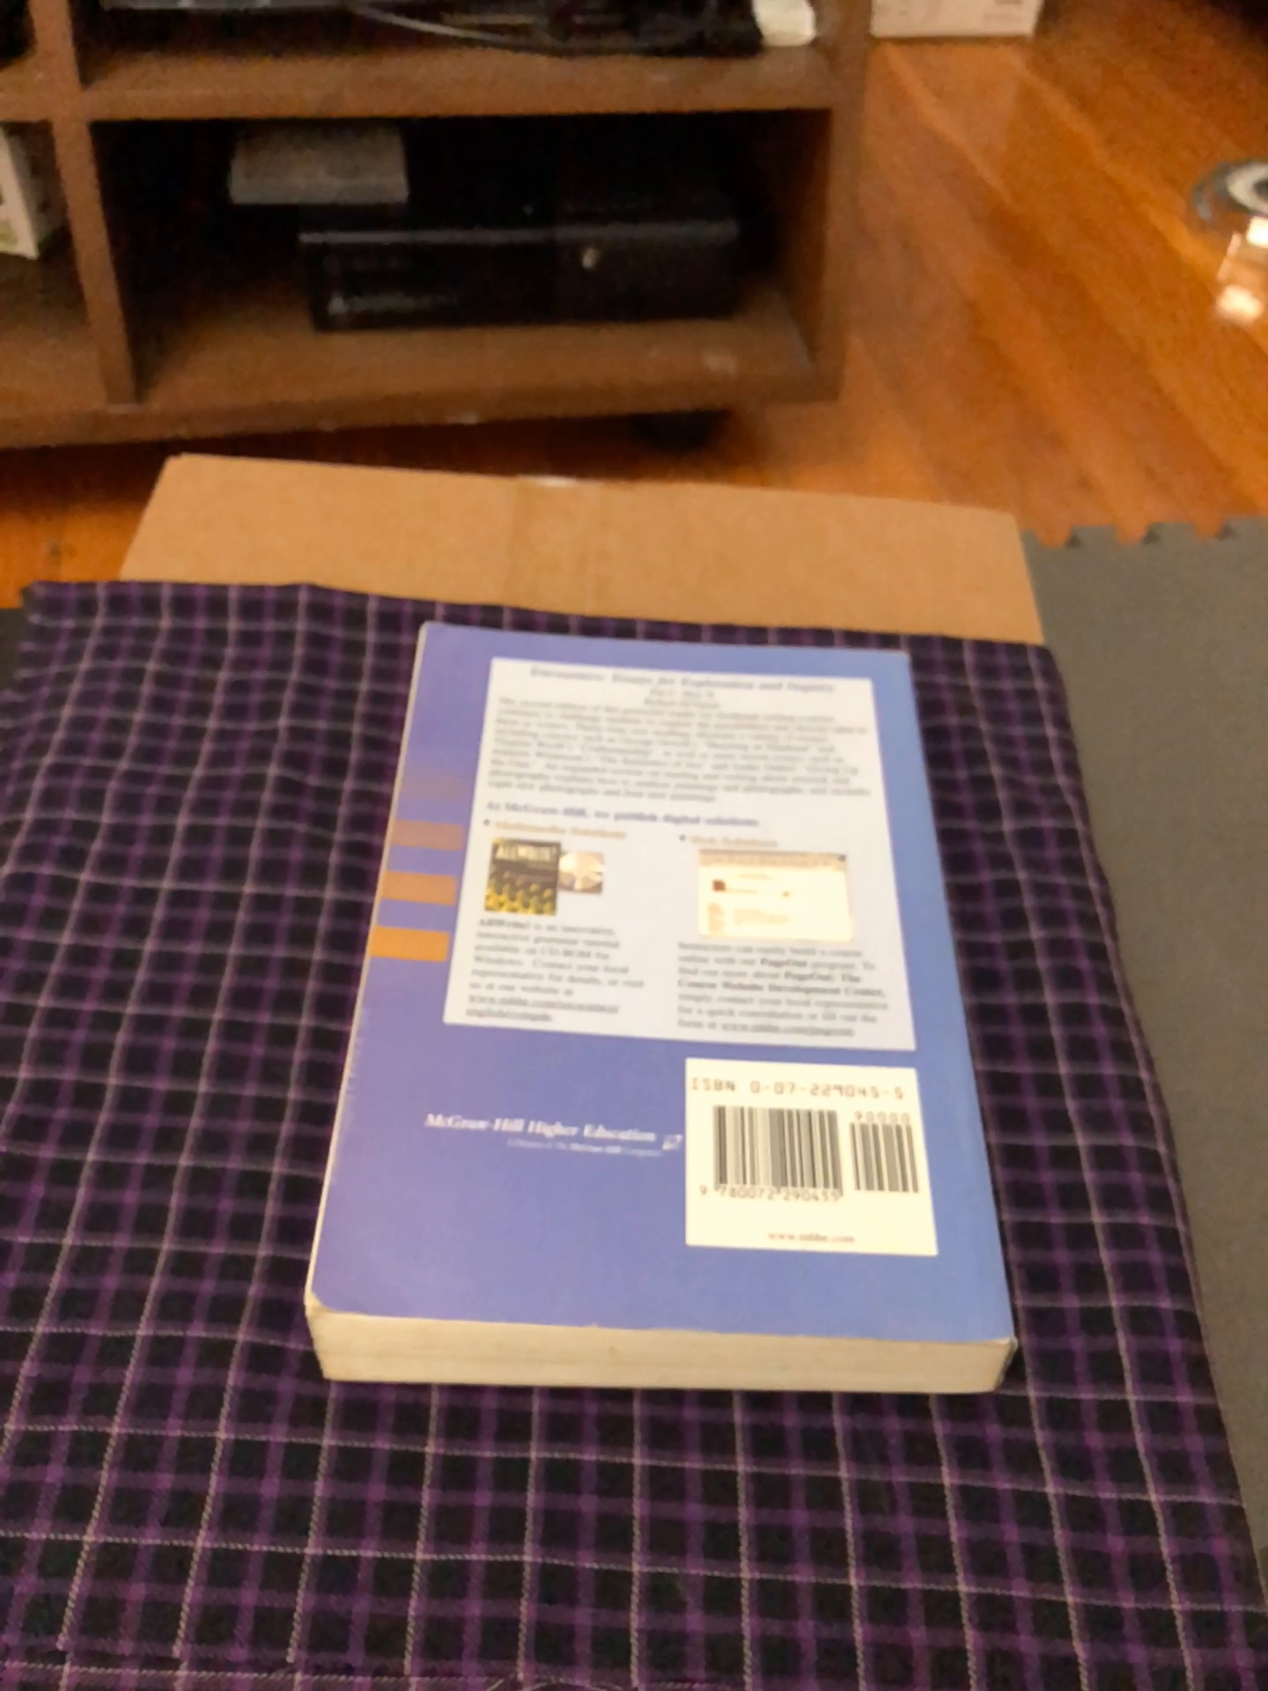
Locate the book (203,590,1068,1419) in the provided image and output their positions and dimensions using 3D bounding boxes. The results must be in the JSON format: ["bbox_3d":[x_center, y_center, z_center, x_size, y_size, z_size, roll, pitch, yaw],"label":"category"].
[{"bbox_3d":[0.000,0.026,0.388,0.180,0.040,0.241,2,49,-3],"label":"book"}]
